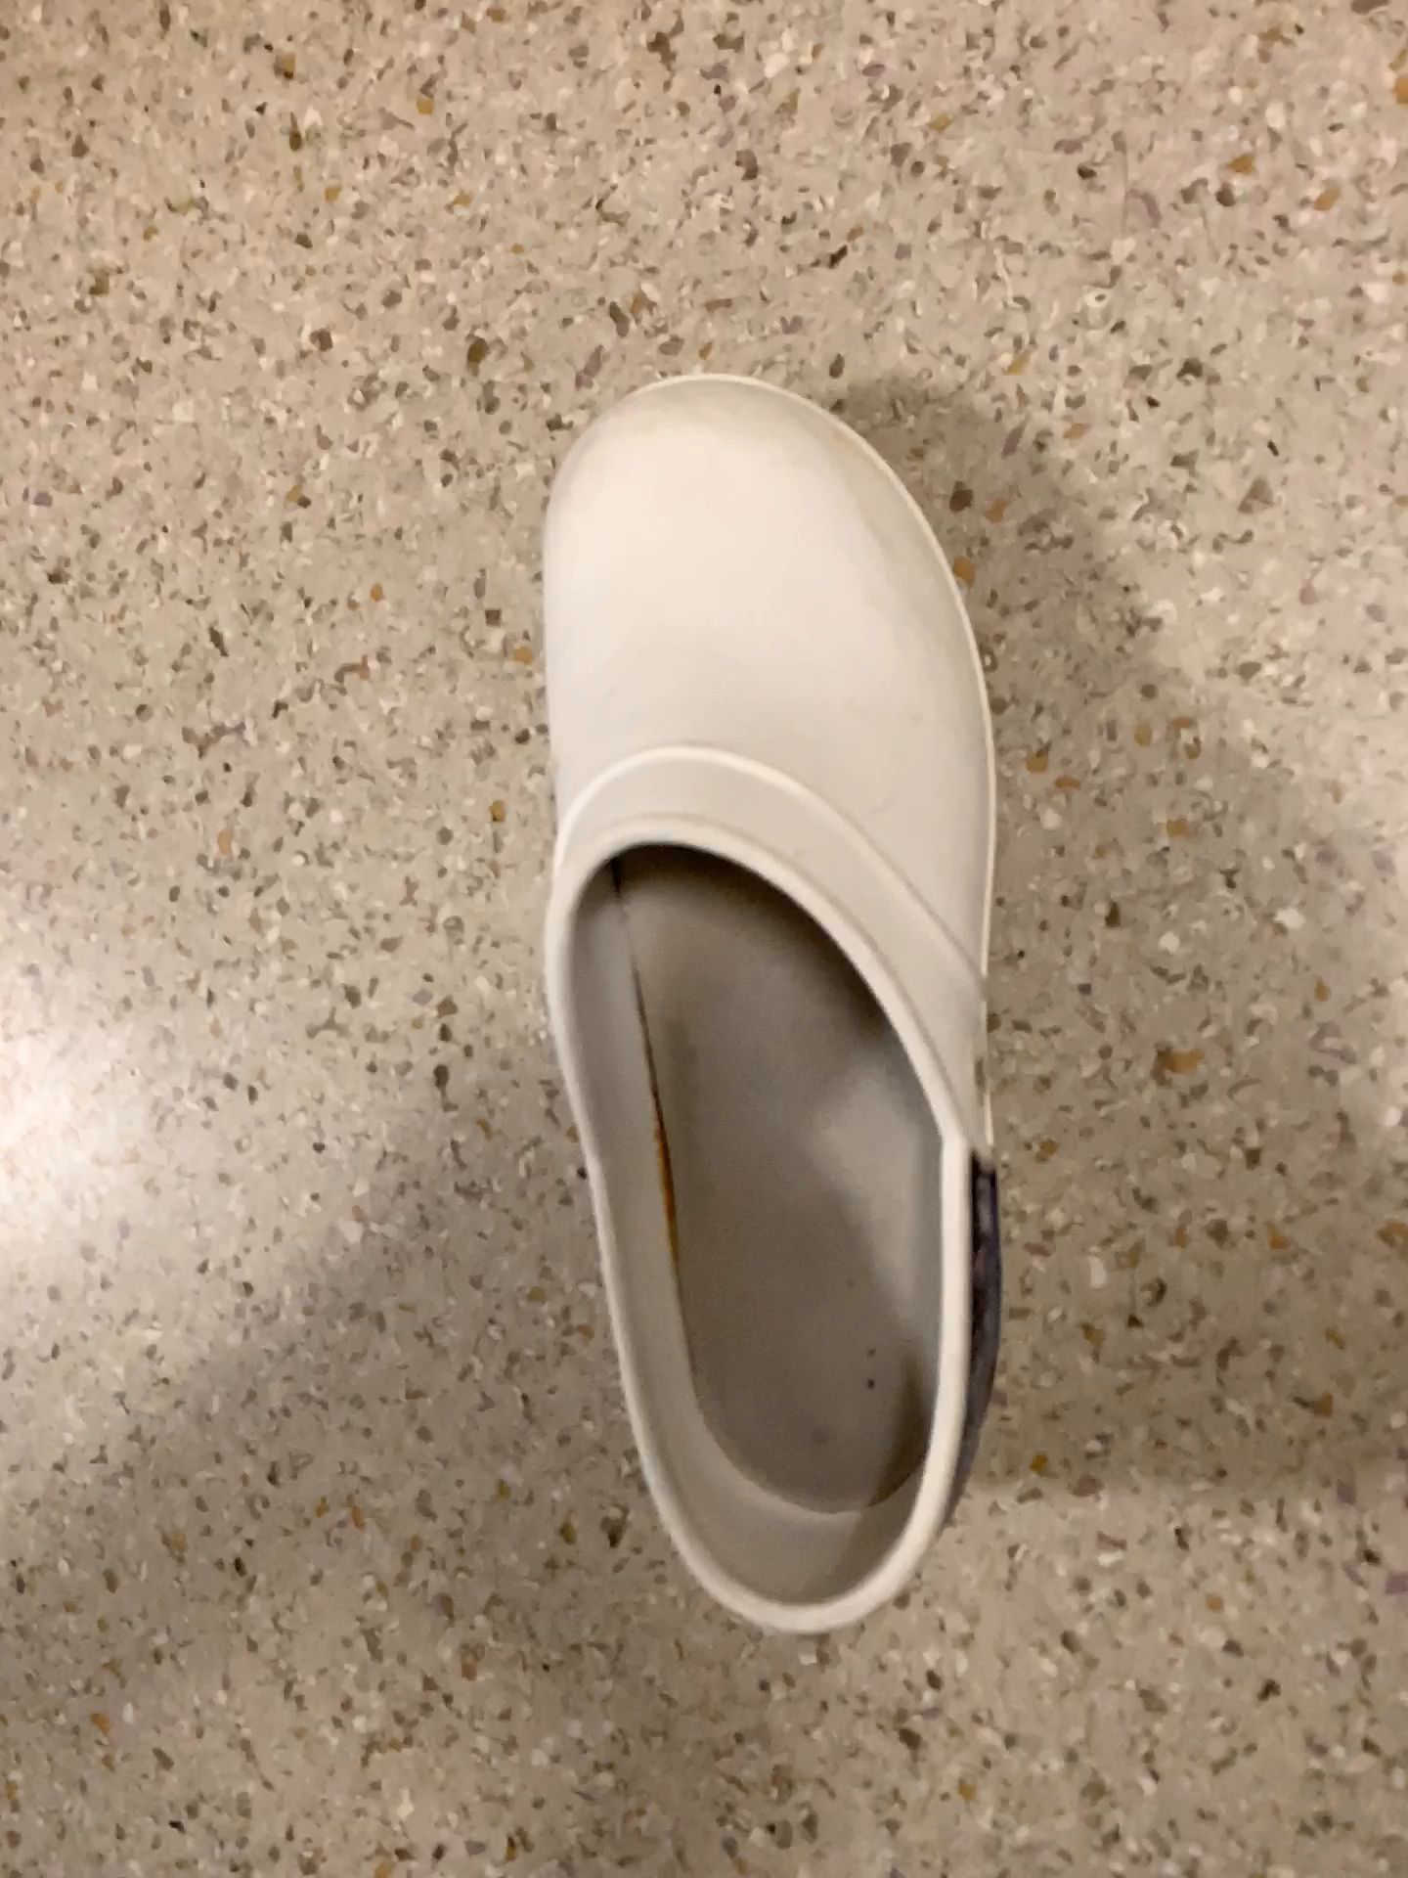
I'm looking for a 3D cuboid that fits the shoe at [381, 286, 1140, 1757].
[{"bbox_3d":[0.018,0.018,0.311,0.107,0.102,0.254,-9,86,19],"label":"shoe"}]
